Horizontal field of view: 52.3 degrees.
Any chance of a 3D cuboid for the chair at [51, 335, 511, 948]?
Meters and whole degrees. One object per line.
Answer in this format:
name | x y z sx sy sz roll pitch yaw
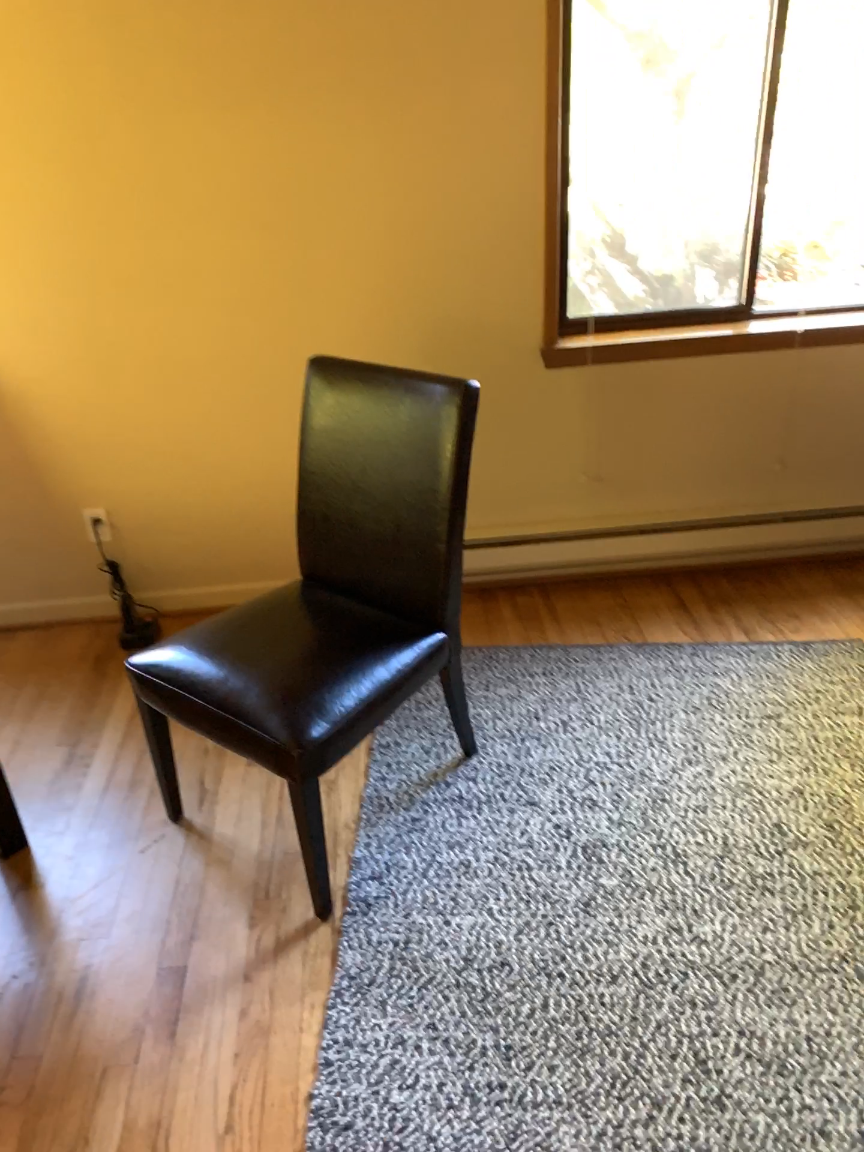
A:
chair | -0.245 0.098 1.936 0.562 1.034 0.672 17 35 32
